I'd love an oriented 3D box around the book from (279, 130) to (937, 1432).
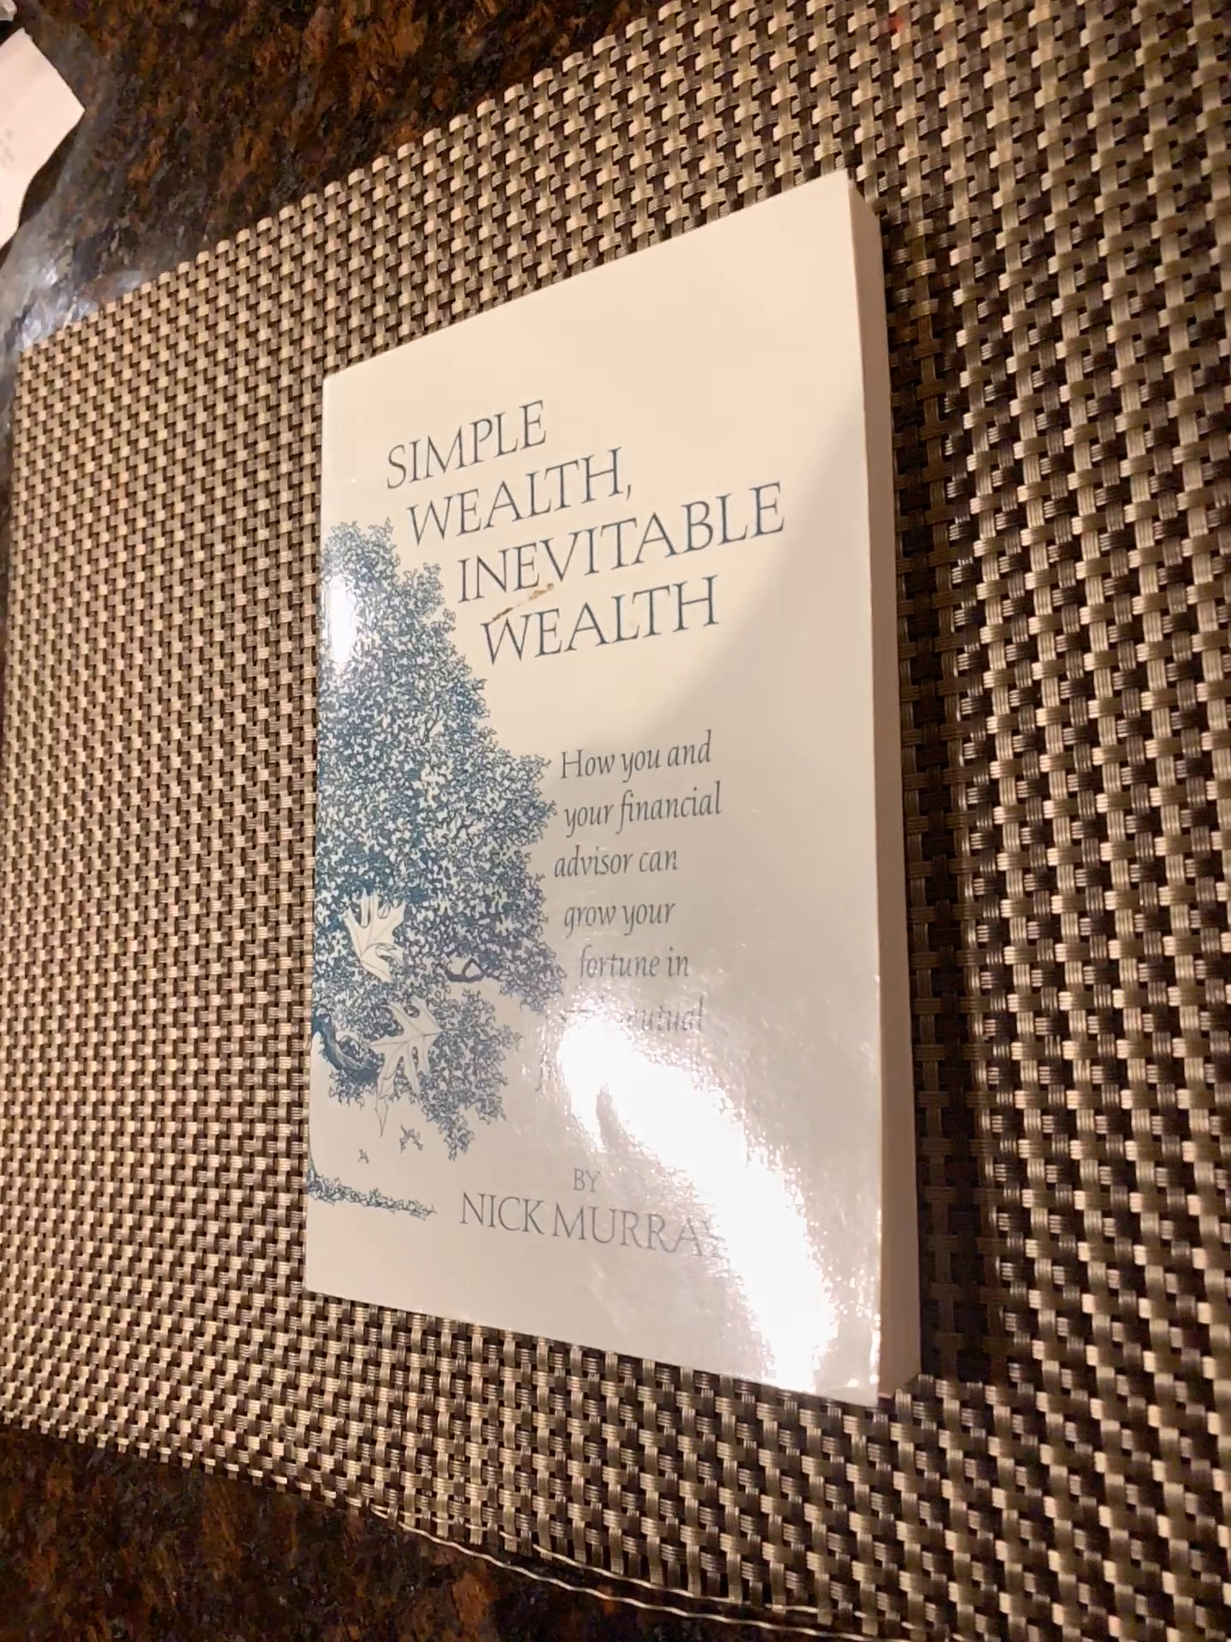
[{"bbox_3d":[-0.011,-0.006,0.253,0.141,0.021,0.210,-4,83,36],"label":"book"}]
